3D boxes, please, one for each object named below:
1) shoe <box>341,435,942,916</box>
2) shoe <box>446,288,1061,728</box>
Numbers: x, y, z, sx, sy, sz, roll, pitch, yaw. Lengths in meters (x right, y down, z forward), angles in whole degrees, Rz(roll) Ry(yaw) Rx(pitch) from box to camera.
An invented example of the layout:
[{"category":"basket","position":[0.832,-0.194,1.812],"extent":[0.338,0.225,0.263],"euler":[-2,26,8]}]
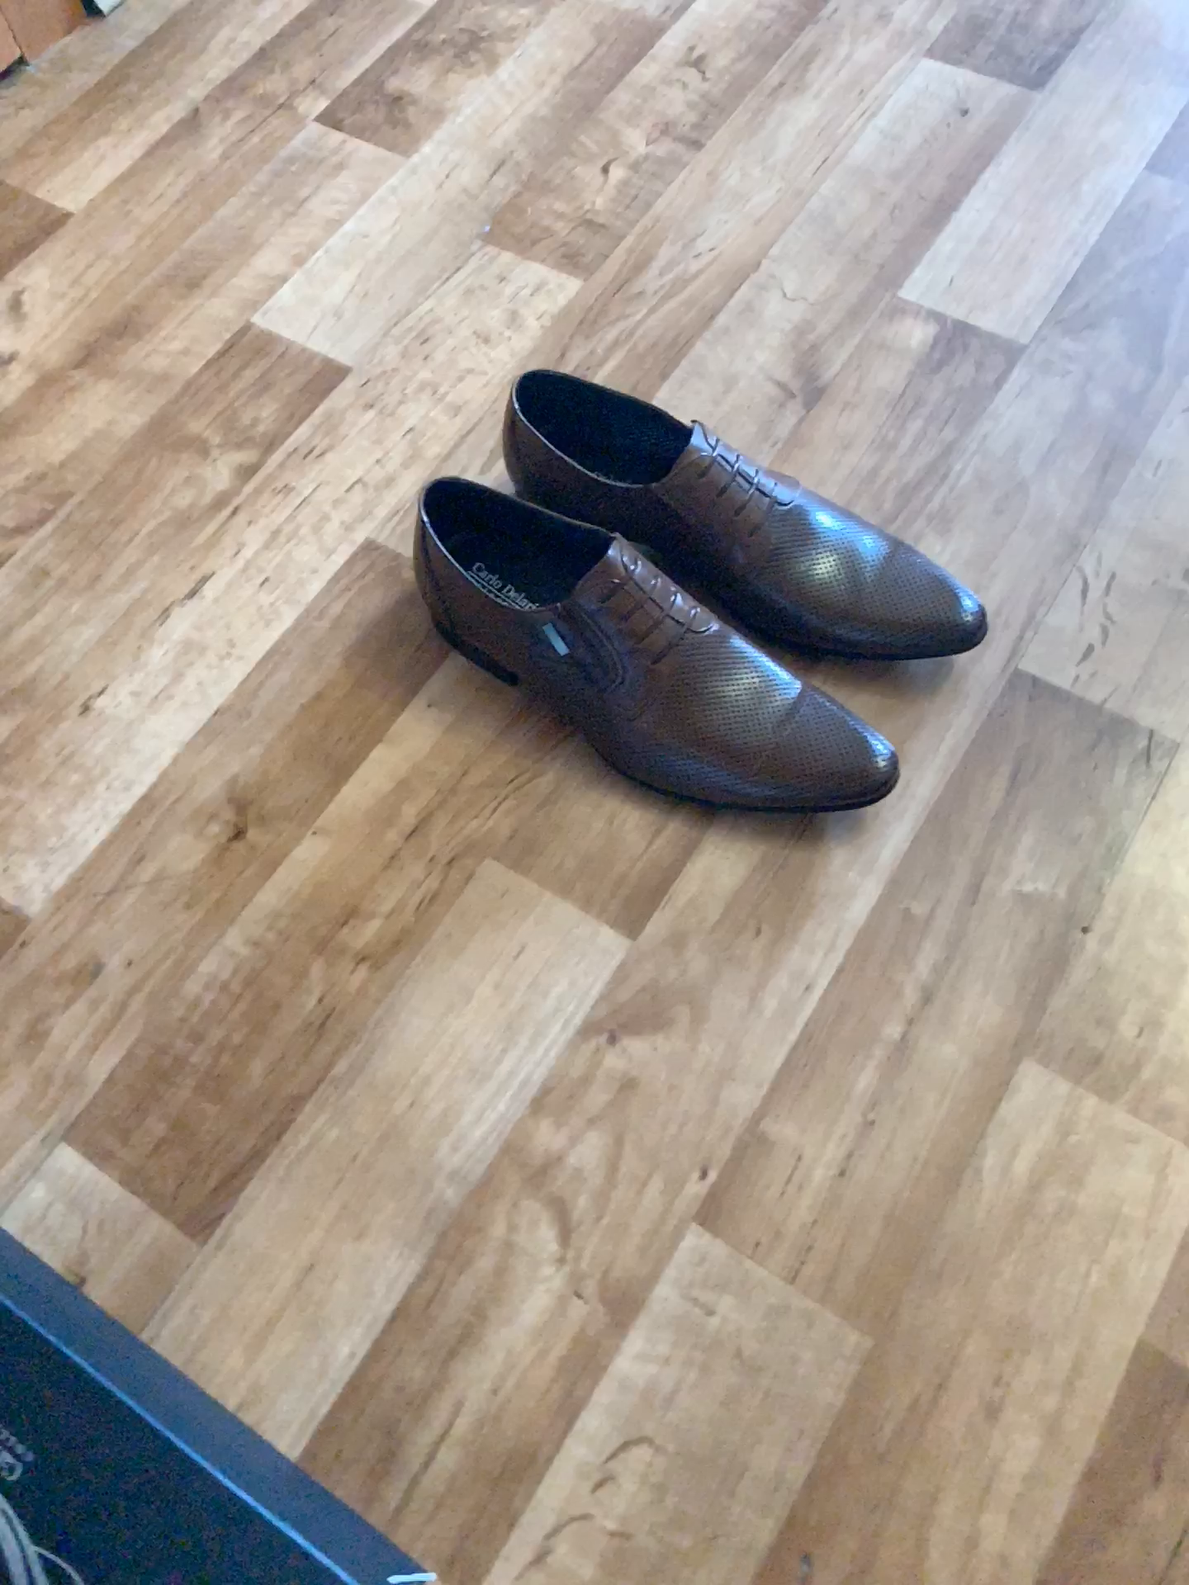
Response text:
[{"category":"shoe","position":[0.022,-0.067,0.674],"extent":[0.300,0.120,0.100],"euler":[29,70,17]},{"category":"shoe","position":[0.083,-0.166,0.695],"extent":[0.310,0.100,0.110],"euler":[26,69,16]}]
